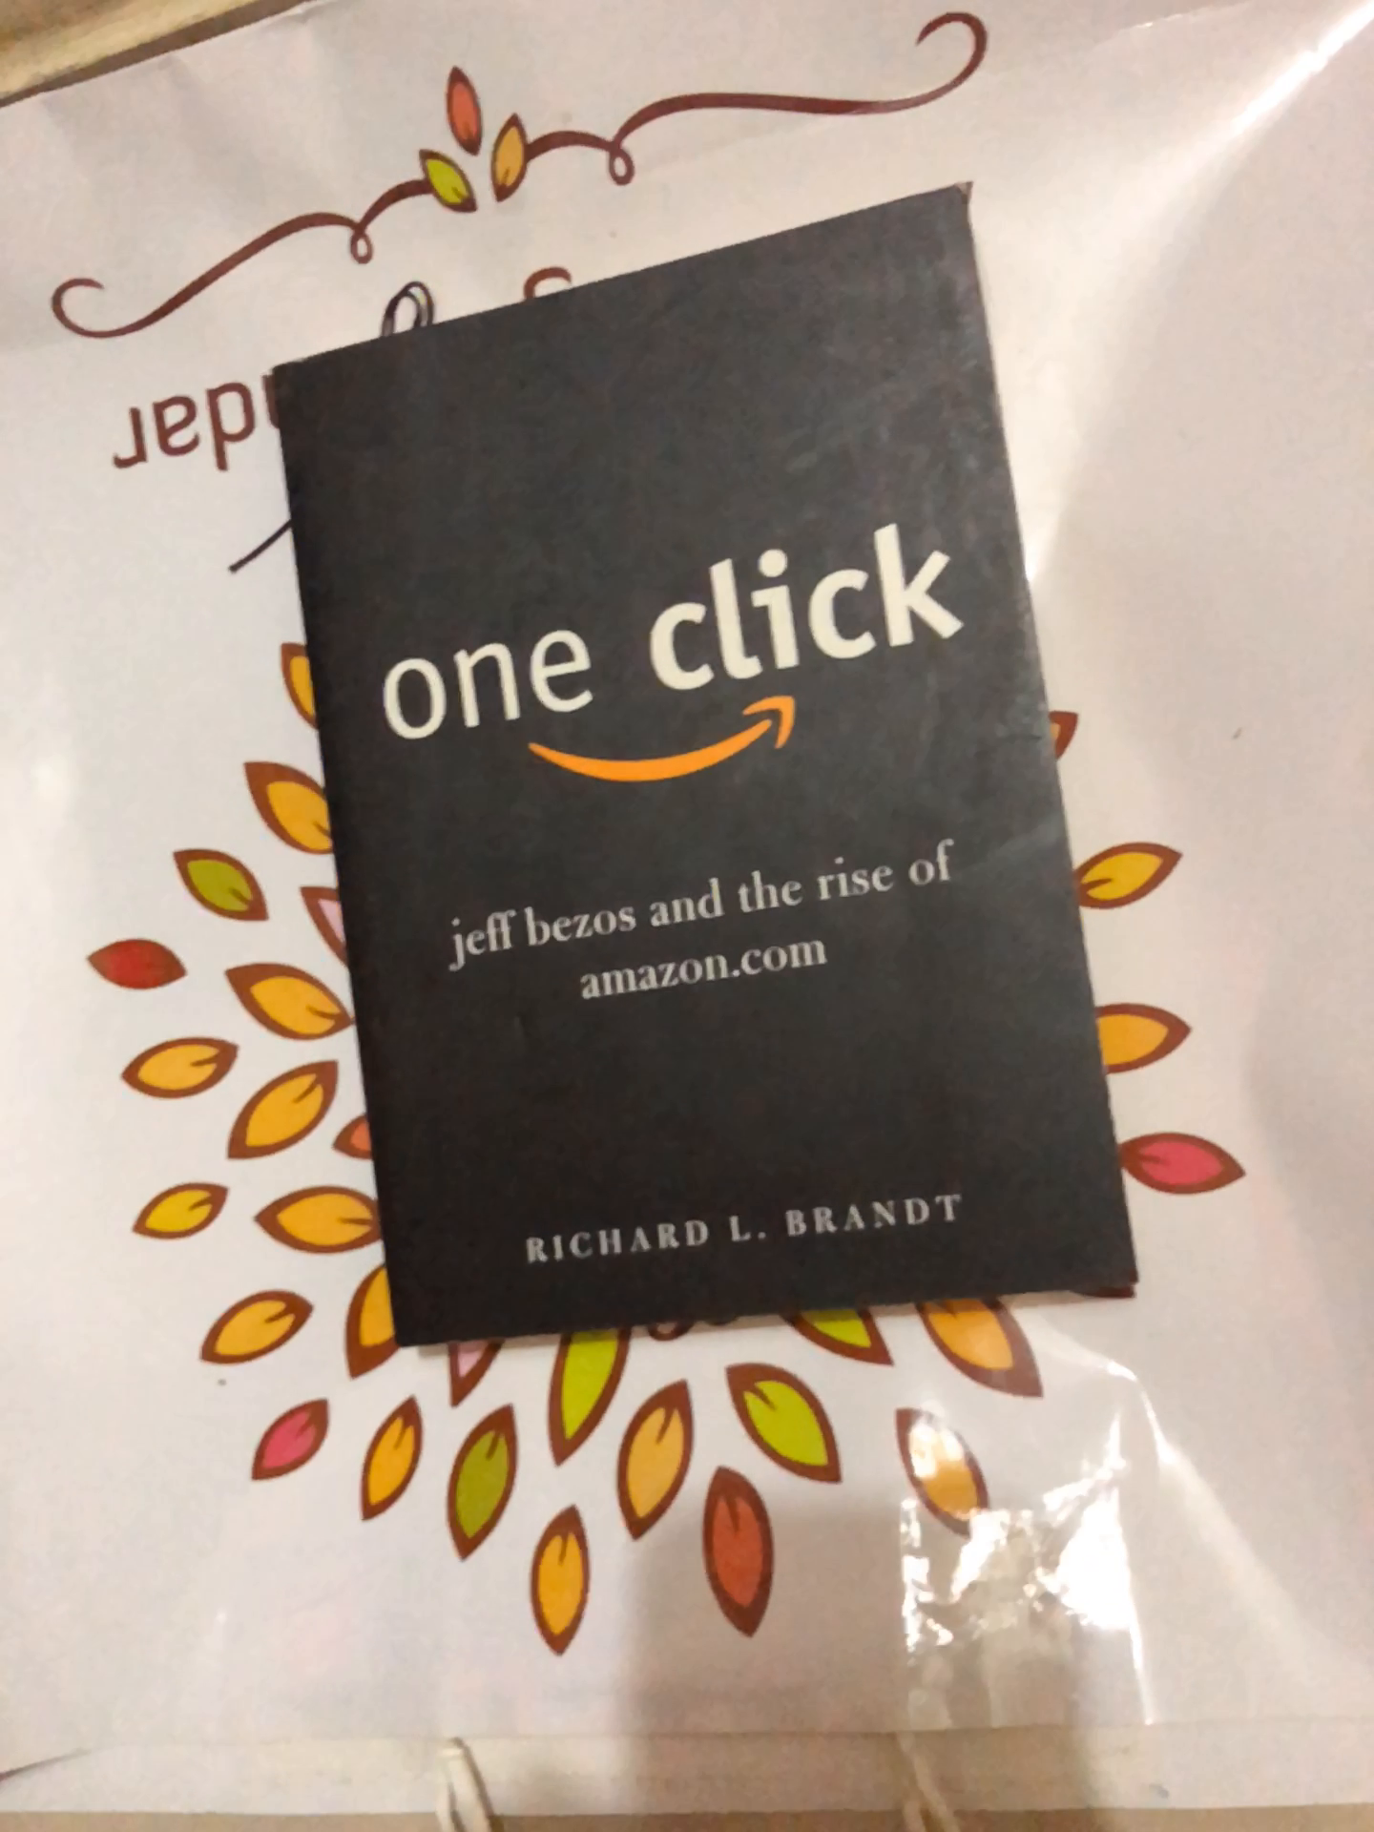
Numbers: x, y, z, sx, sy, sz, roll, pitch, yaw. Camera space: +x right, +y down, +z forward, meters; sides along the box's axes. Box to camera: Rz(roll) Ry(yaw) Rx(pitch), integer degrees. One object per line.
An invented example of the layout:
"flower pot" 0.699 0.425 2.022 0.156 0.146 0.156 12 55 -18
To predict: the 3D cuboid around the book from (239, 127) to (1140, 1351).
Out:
"book" -0.007 -0.031 0.314 0.160 0.020 0.220 -9 82 16
